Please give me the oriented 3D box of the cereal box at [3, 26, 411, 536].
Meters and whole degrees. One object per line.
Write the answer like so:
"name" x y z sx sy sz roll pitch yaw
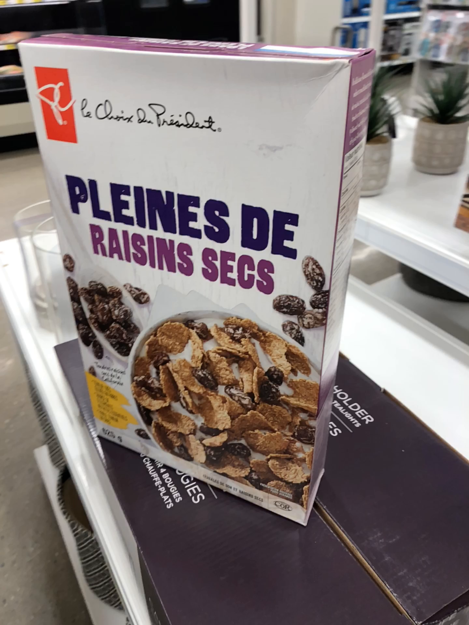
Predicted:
"cereal box" -0.019 -0.012 0.339 0.200 0.299 0.060 16 37 24
